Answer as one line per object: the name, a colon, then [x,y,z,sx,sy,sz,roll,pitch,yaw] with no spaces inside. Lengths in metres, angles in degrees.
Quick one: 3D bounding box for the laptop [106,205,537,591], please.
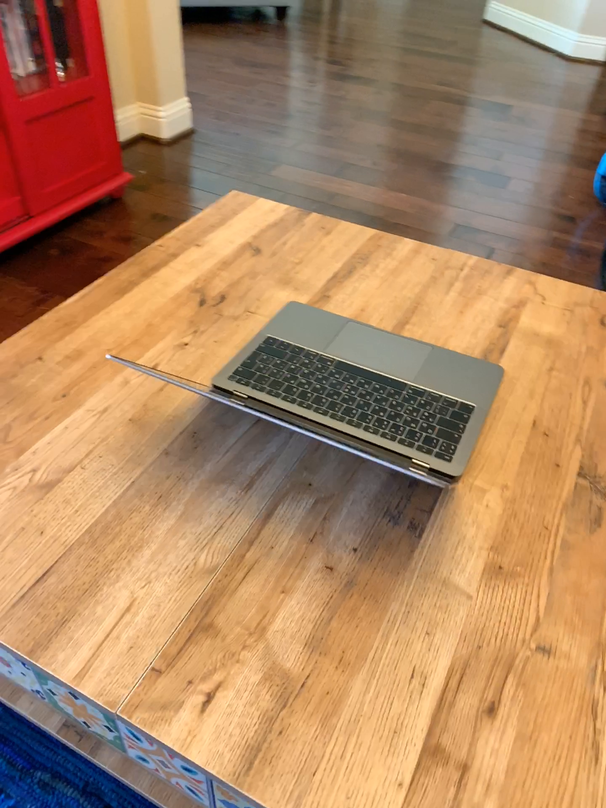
laptop: [0.041,-0.042,0.646,0.291,0.141,0.354,21,44,18]
